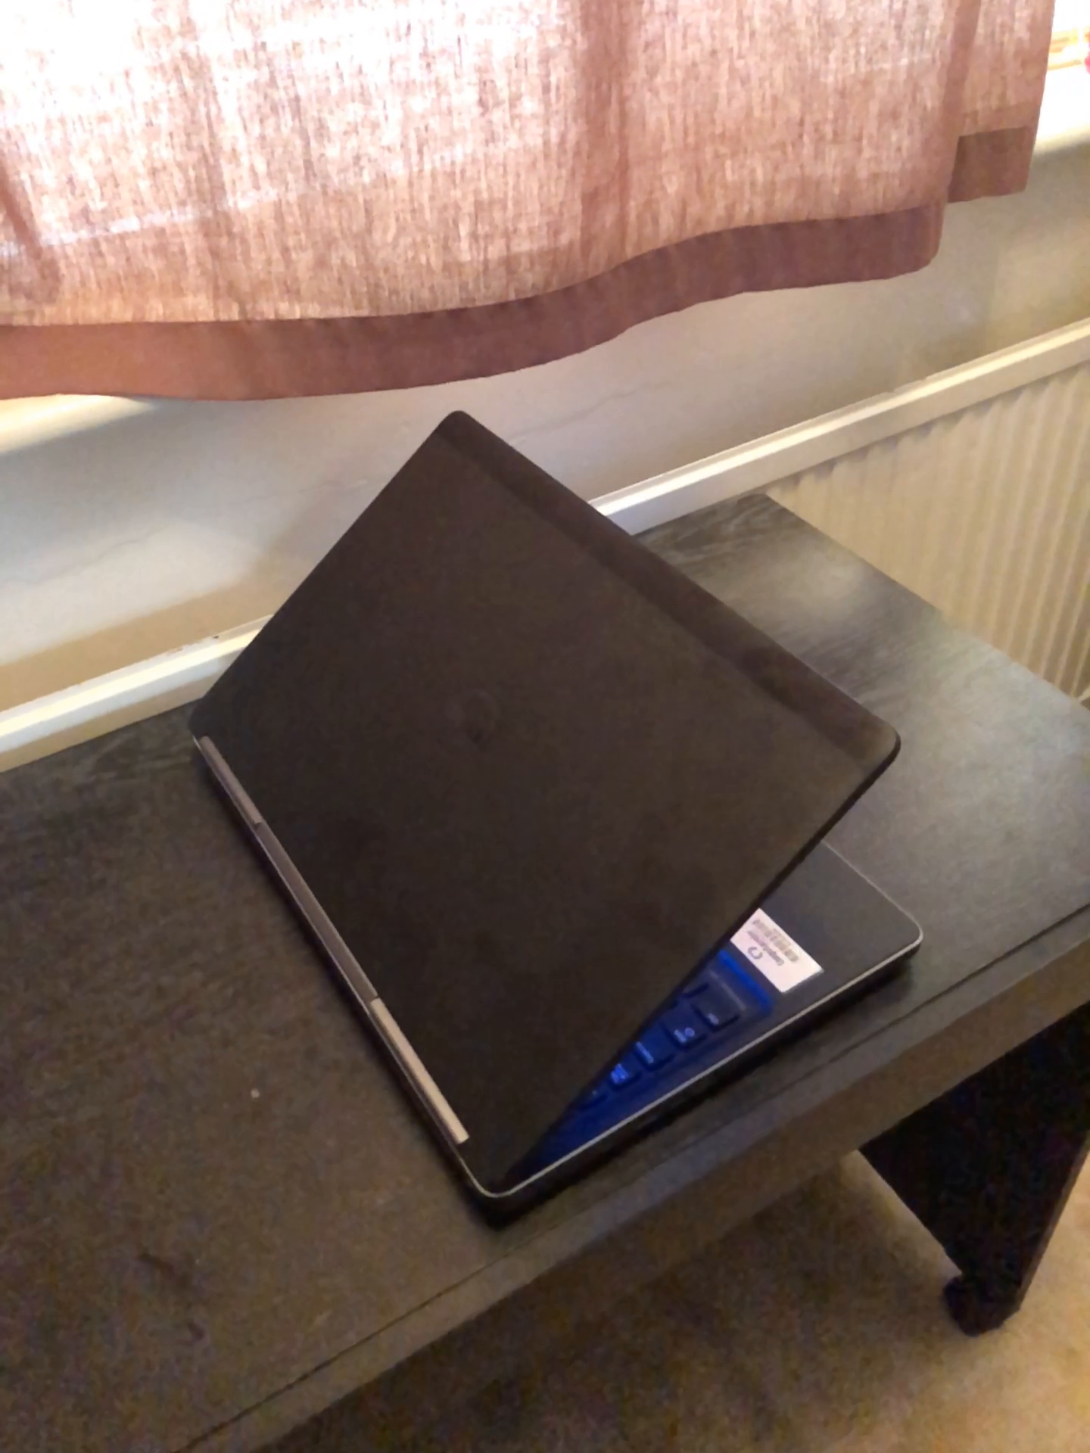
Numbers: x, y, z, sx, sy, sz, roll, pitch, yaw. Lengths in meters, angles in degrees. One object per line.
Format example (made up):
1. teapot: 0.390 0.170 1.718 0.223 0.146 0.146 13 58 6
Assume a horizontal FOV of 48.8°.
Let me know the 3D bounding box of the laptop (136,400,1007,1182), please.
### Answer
1. laptop: -0.012 -0.006 0.606 0.243 0.134 0.364 -24 45 -21
